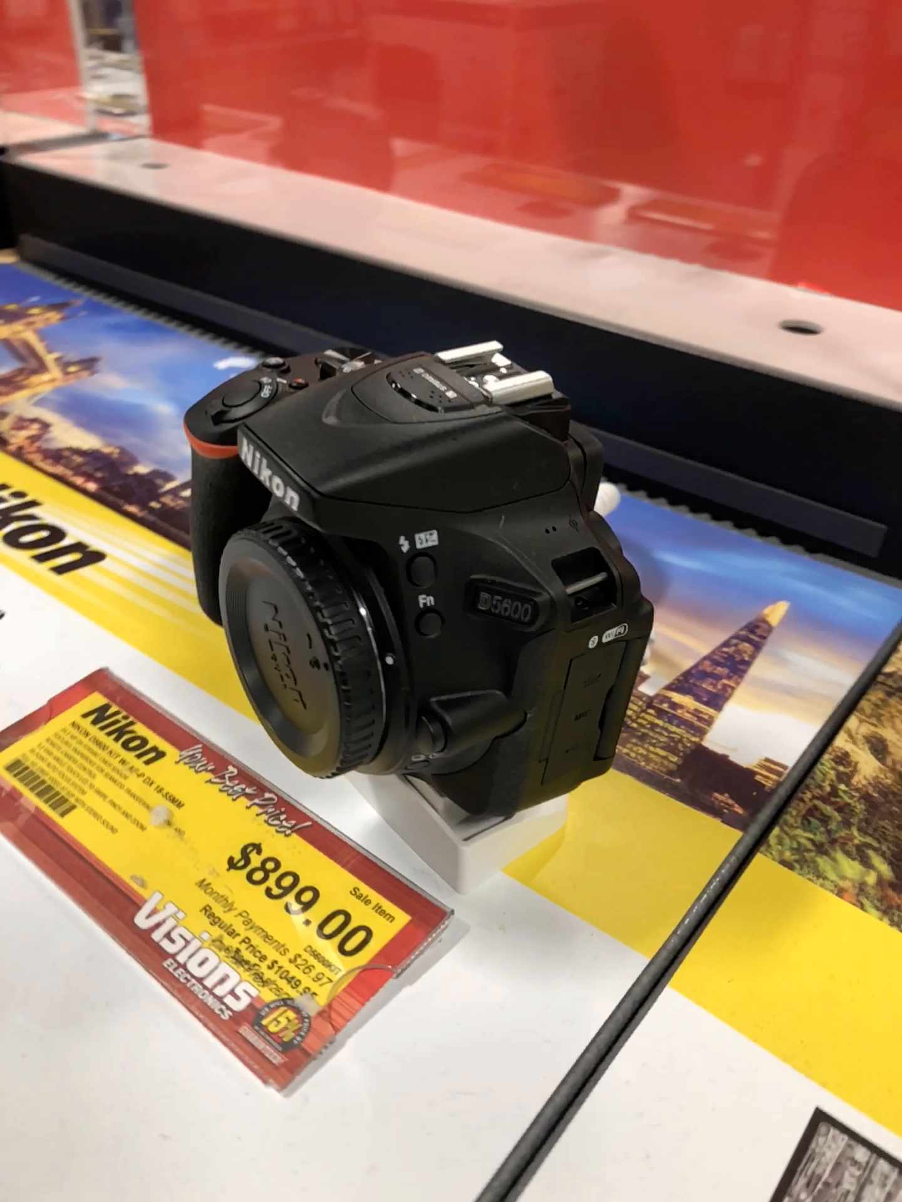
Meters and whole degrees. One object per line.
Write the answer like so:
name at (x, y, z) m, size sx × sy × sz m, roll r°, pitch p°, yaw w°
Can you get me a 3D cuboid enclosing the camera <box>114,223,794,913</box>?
camera at (-0.012, -0.021, 0.240) m, size 0.080 × 0.089 × 0.141 m, roll -18°, pitch 43°, yaw -32°
